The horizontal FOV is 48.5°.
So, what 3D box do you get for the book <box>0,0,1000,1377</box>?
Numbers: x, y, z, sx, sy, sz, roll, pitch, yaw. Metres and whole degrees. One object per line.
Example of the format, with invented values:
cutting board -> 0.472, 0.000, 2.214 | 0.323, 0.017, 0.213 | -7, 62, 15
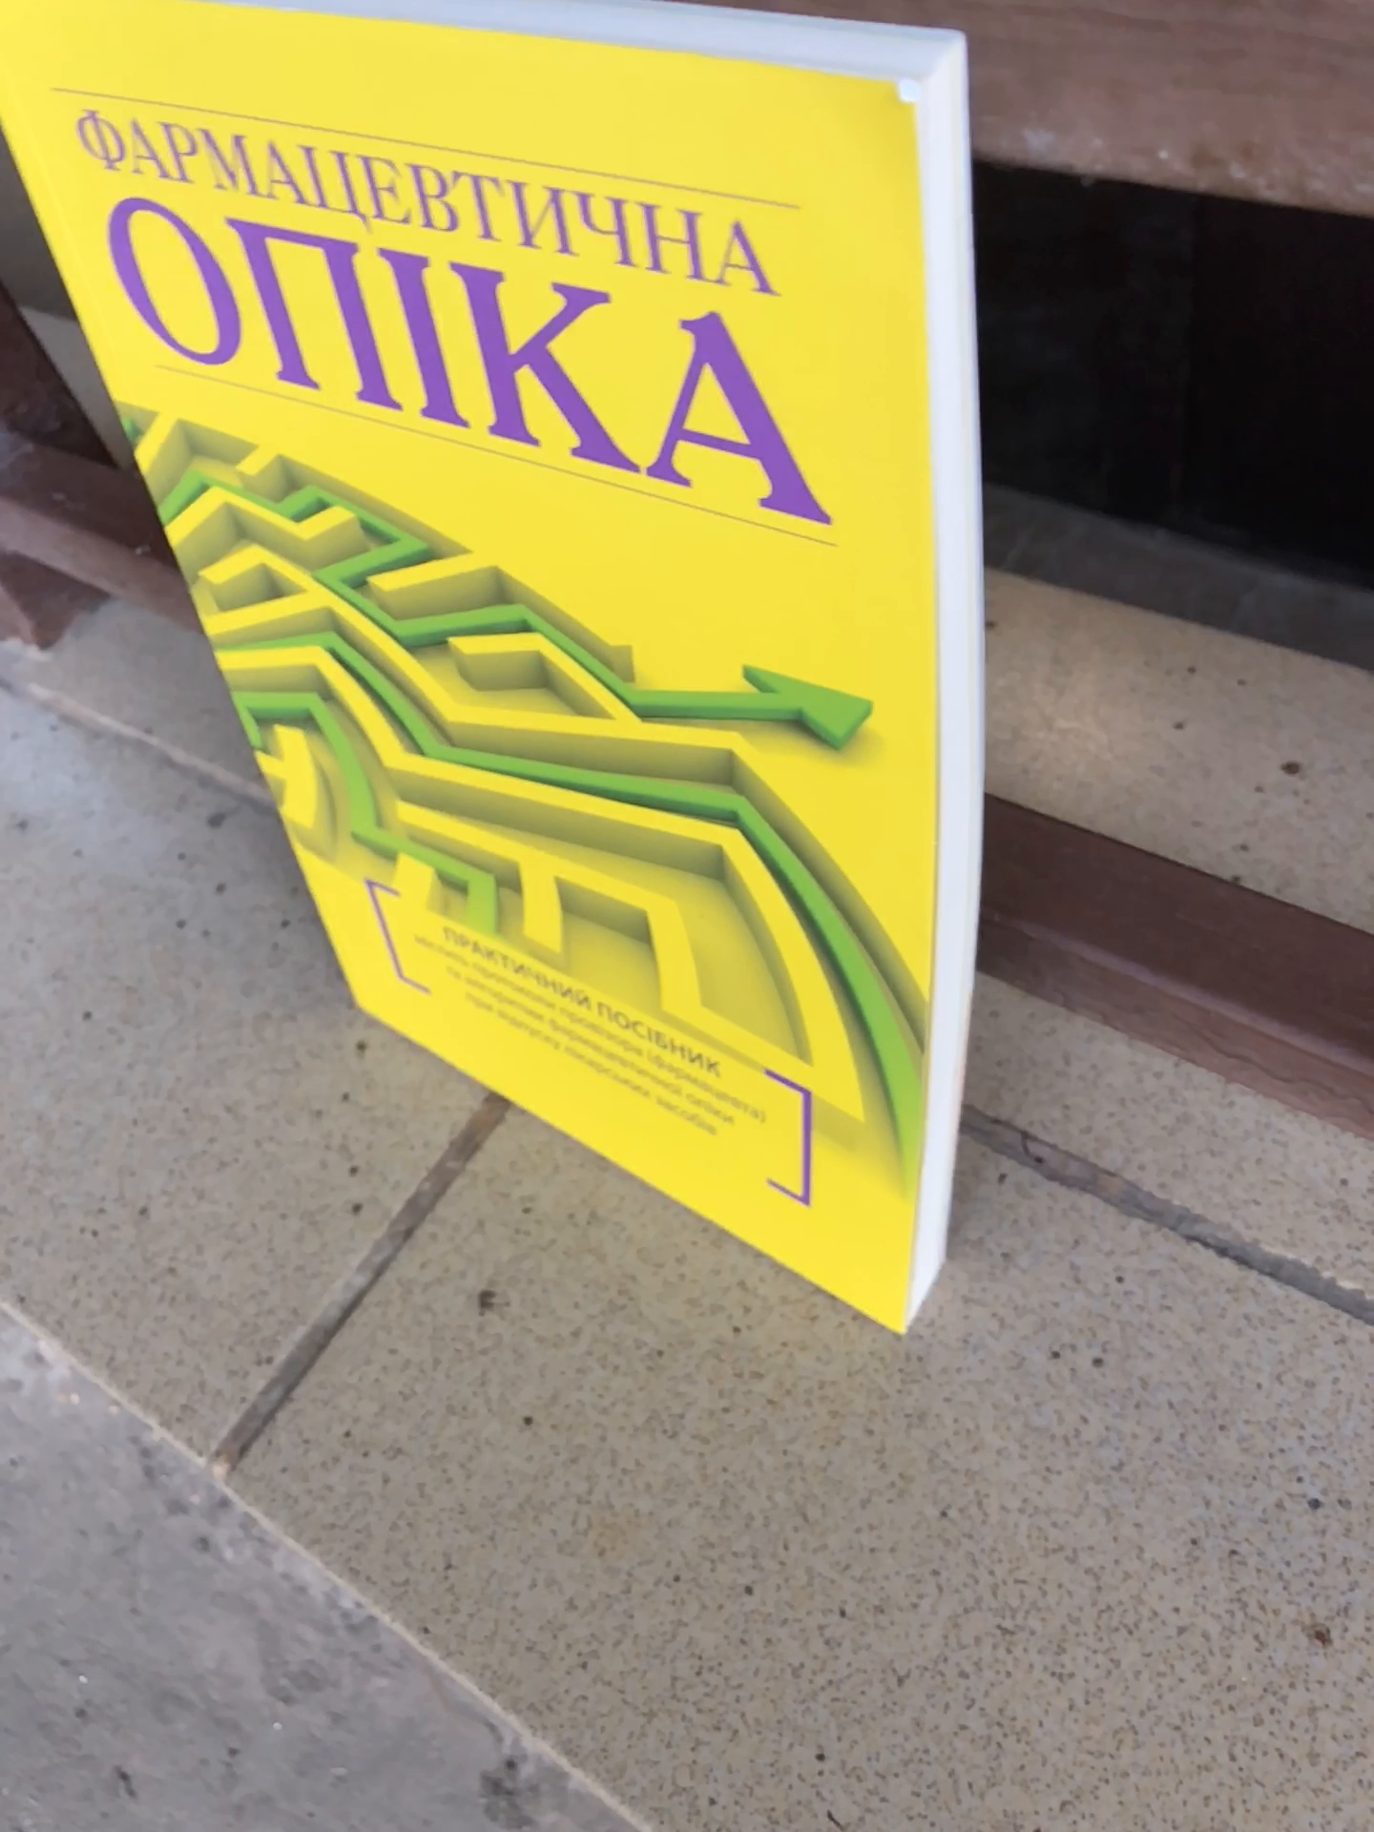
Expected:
book -> -0.034, -0.033, 0.270 | 0.180, 0.239, 0.030 | 26, 56, 30
